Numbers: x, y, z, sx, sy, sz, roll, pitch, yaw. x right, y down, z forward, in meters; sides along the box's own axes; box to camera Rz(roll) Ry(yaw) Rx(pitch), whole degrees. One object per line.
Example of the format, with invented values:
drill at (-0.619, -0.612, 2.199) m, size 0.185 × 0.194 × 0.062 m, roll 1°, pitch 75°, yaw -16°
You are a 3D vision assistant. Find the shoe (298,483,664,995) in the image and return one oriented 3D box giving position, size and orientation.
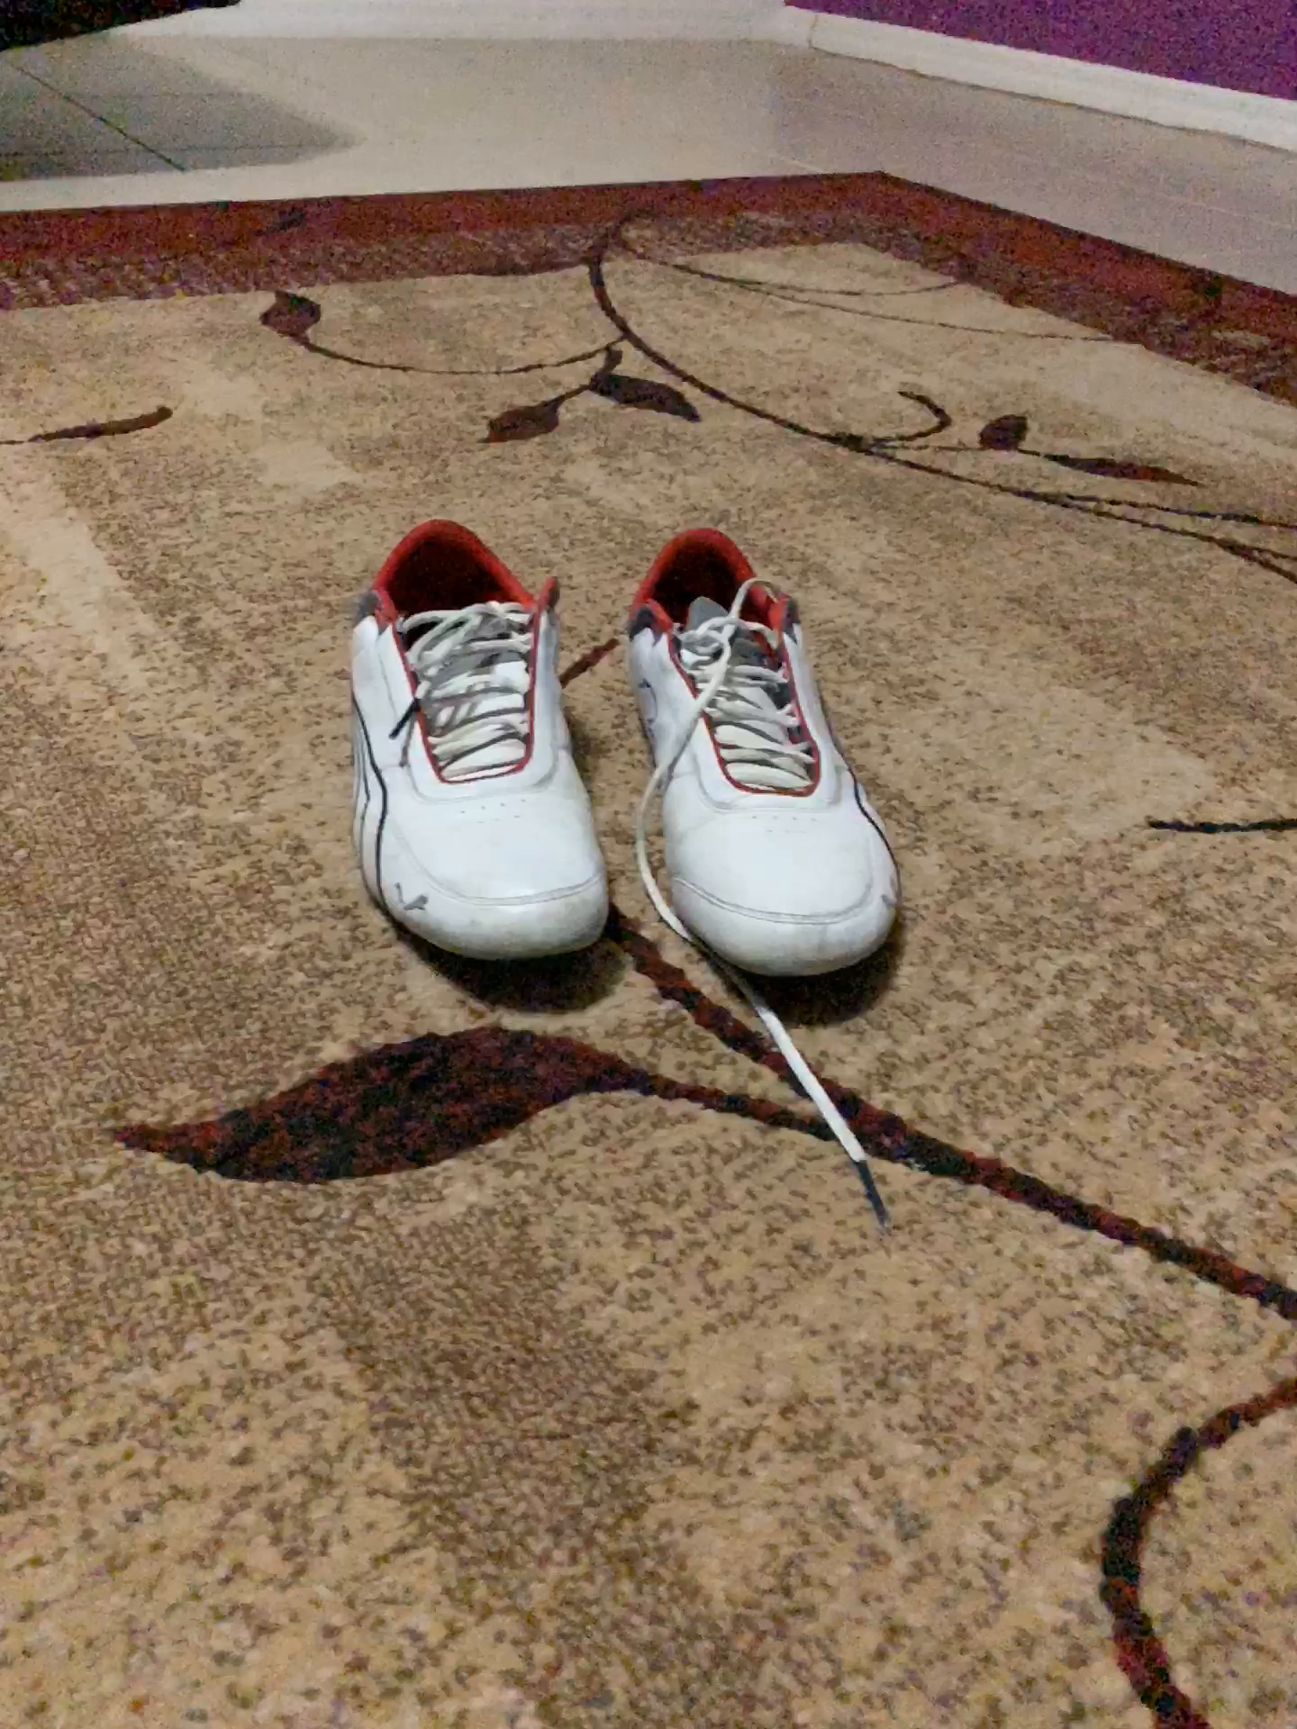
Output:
shoe at (-0.083, -0.072, 0.561) m, size 0.099 × 0.070 × 0.283 m, roll -7°, pitch 38°, yaw -15°

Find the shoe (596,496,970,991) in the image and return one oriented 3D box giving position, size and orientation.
shoe at (0.040, -0.069, 0.570) m, size 0.103 × 0.070 × 0.283 m, roll 0°, pitch 37°, yaw -7°
